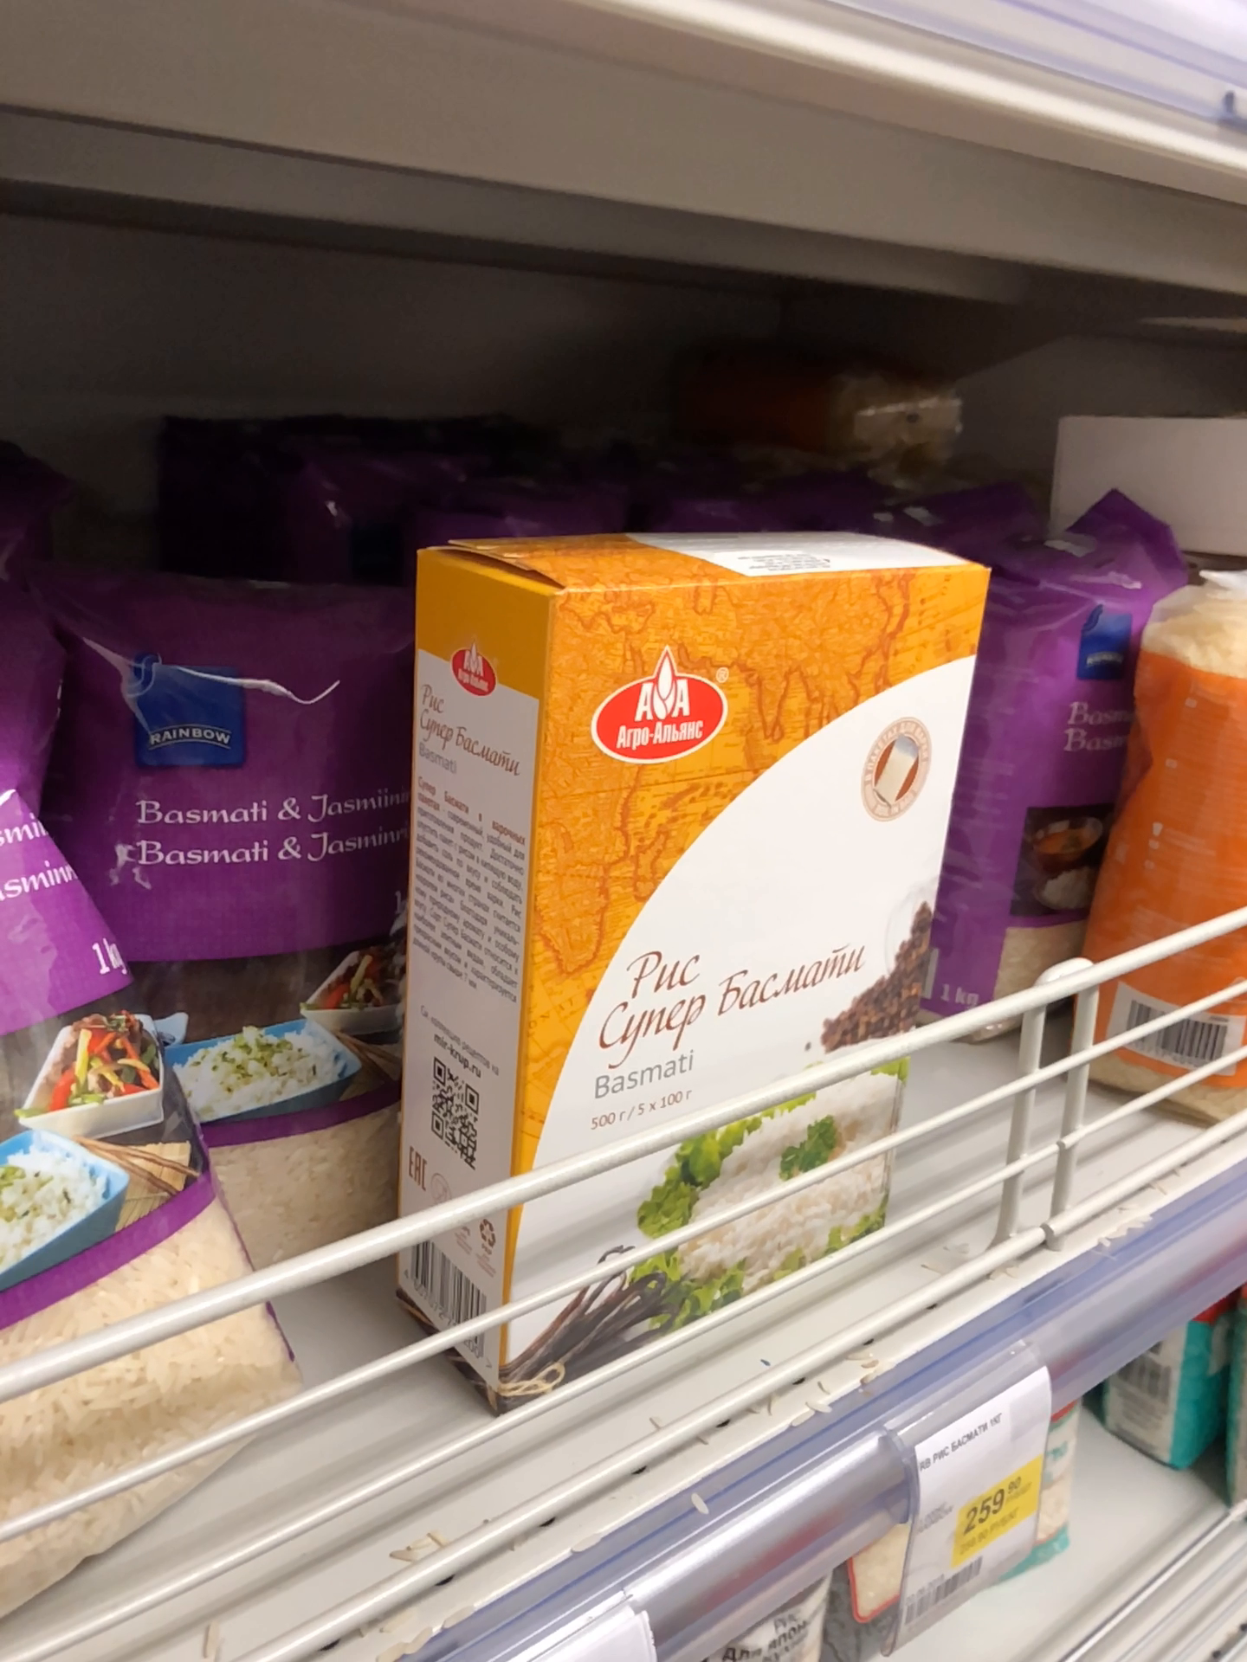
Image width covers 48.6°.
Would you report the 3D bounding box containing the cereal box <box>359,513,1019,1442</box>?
[{"bbox_3d":[0.014,0.025,0.337,0.140,0.189,0.060,-11,23,-35],"label":"cereal box"}]
